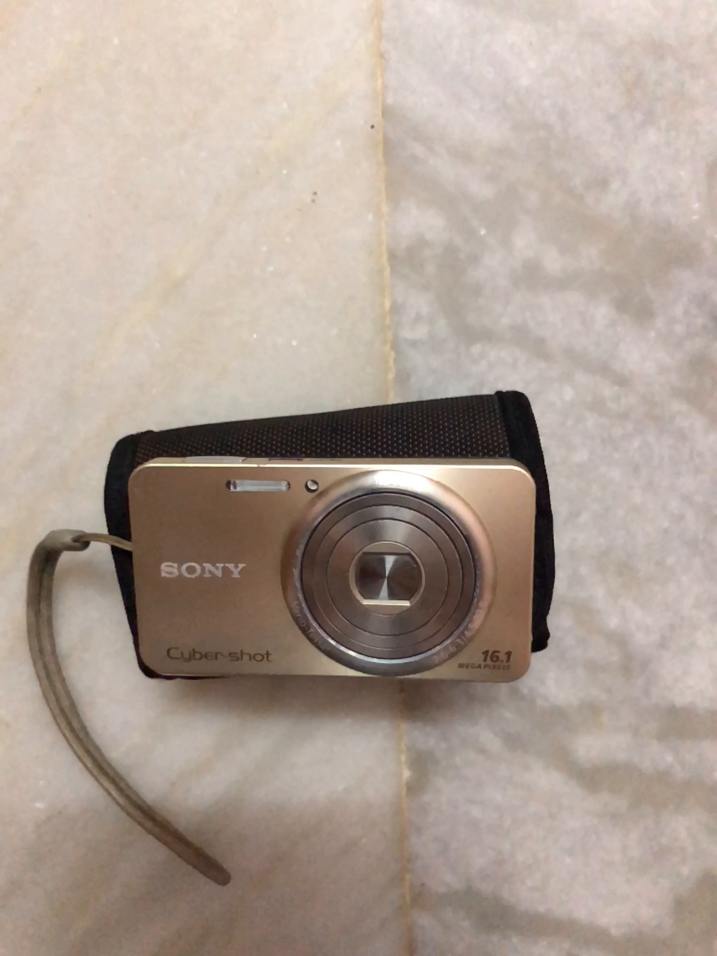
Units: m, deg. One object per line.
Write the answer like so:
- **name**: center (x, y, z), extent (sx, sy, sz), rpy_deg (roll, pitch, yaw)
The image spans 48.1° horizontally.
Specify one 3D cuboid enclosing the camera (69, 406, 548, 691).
- **camera**: center (-0.010, 0.015, 0.182), extent (0.100, 0.020, 0.060), rpy_deg (-1, 100, 3)
